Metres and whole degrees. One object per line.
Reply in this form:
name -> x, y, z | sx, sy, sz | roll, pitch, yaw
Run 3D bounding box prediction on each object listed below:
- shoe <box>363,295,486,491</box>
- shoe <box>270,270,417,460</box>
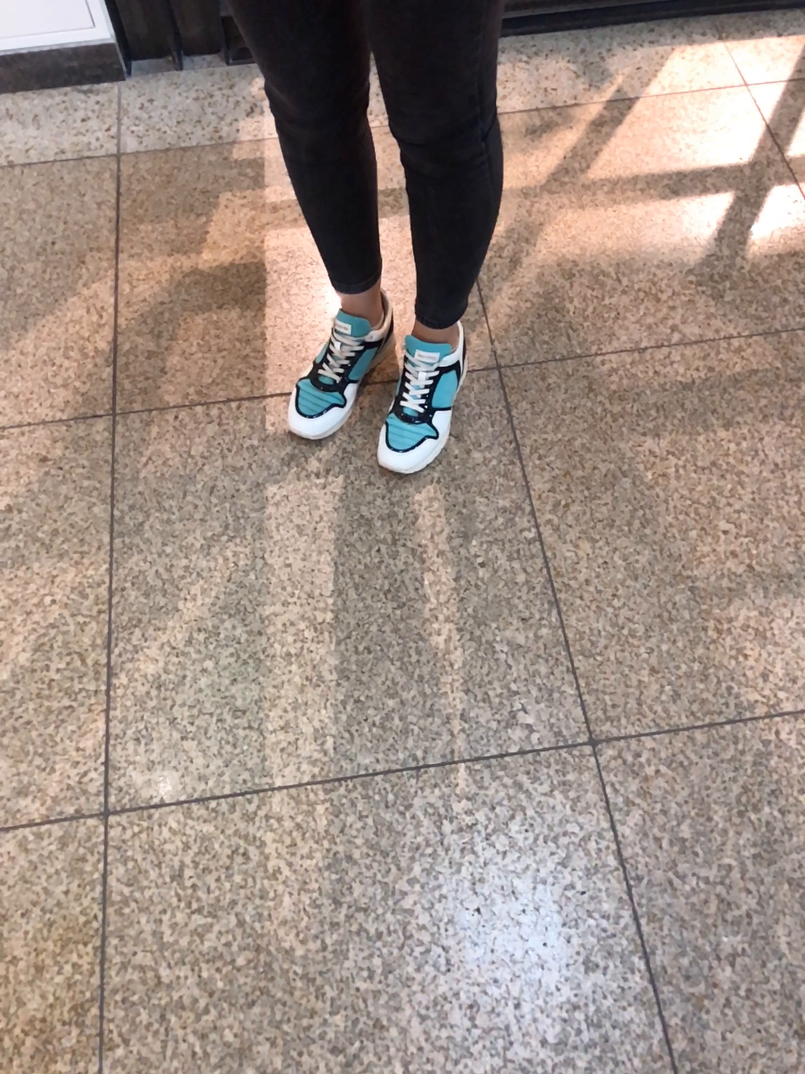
shoe -> 0.035, -0.207, 1.260 | 0.100, 0.120, 0.240 | 15, 62, 10
shoe -> -0.080, -0.255, 1.301 | 0.100, 0.120, 0.240 | 24, 64, 15
